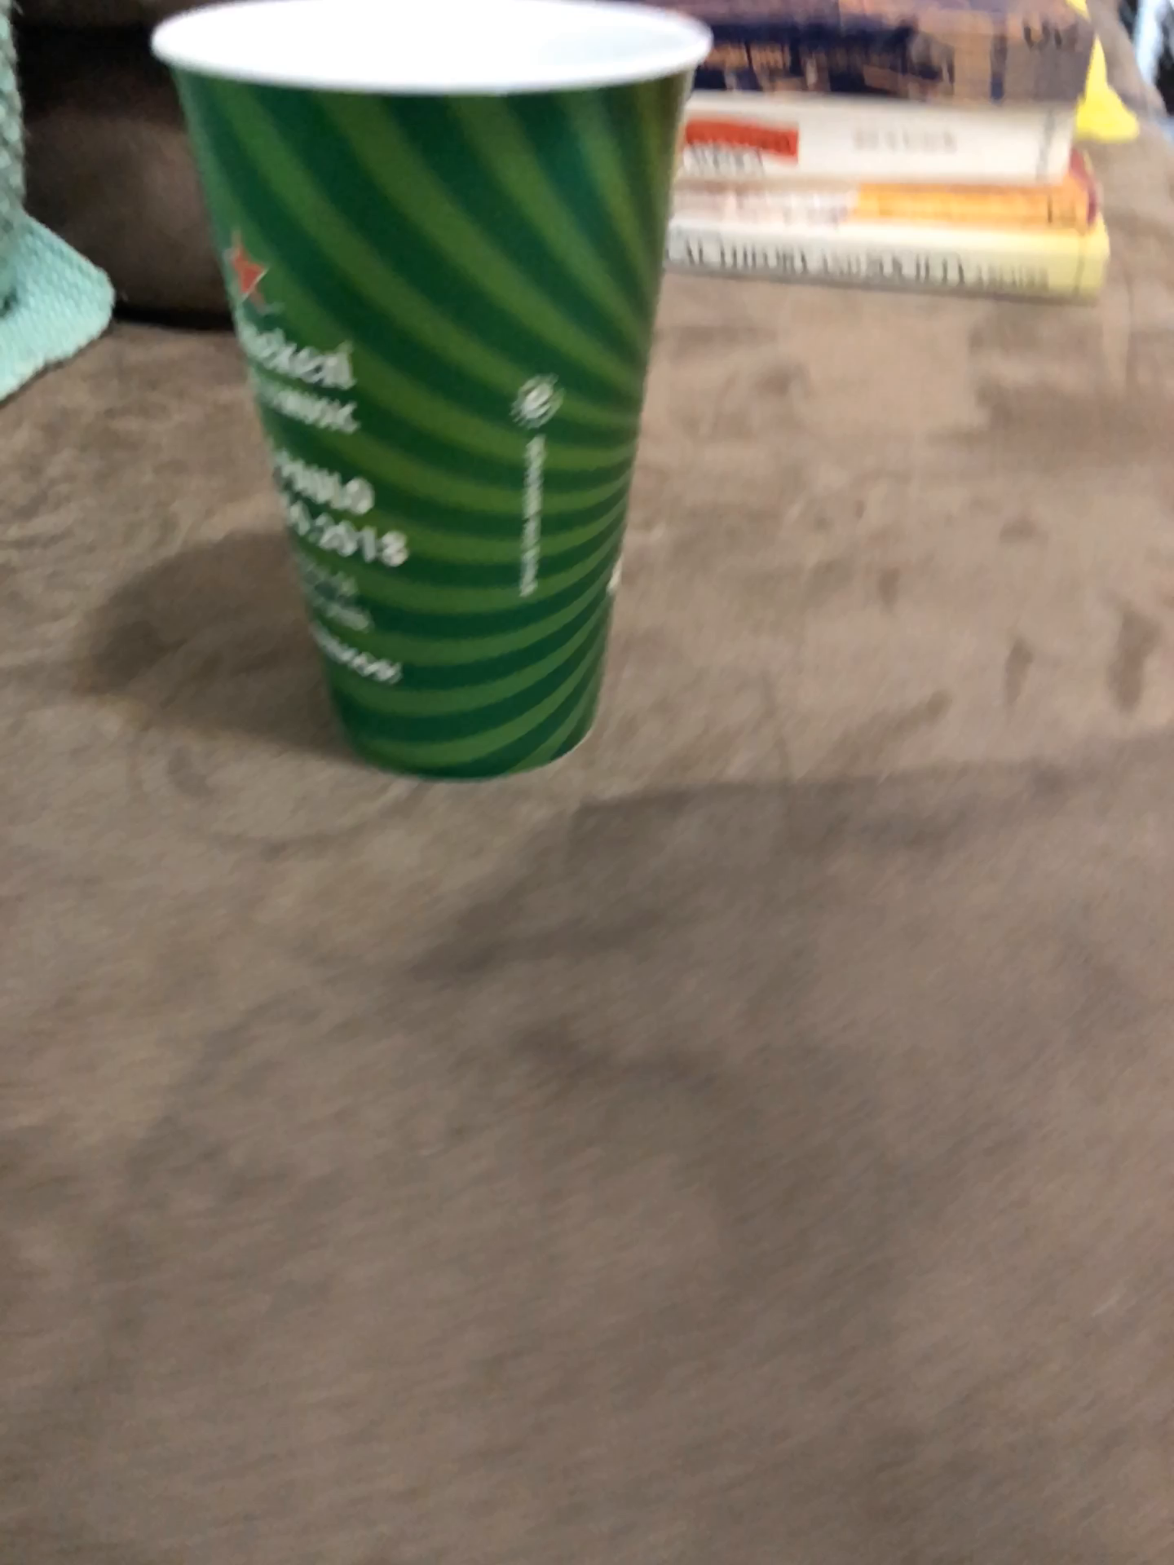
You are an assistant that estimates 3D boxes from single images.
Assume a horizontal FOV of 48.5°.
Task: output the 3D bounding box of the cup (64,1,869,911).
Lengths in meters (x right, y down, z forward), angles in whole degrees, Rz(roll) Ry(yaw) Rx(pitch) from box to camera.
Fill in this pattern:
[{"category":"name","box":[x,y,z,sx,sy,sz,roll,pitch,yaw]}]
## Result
[{"category":"cup","box":[-0.024,-0.070,0.255,0.100,0.129,0.101,0,37,0]}]
